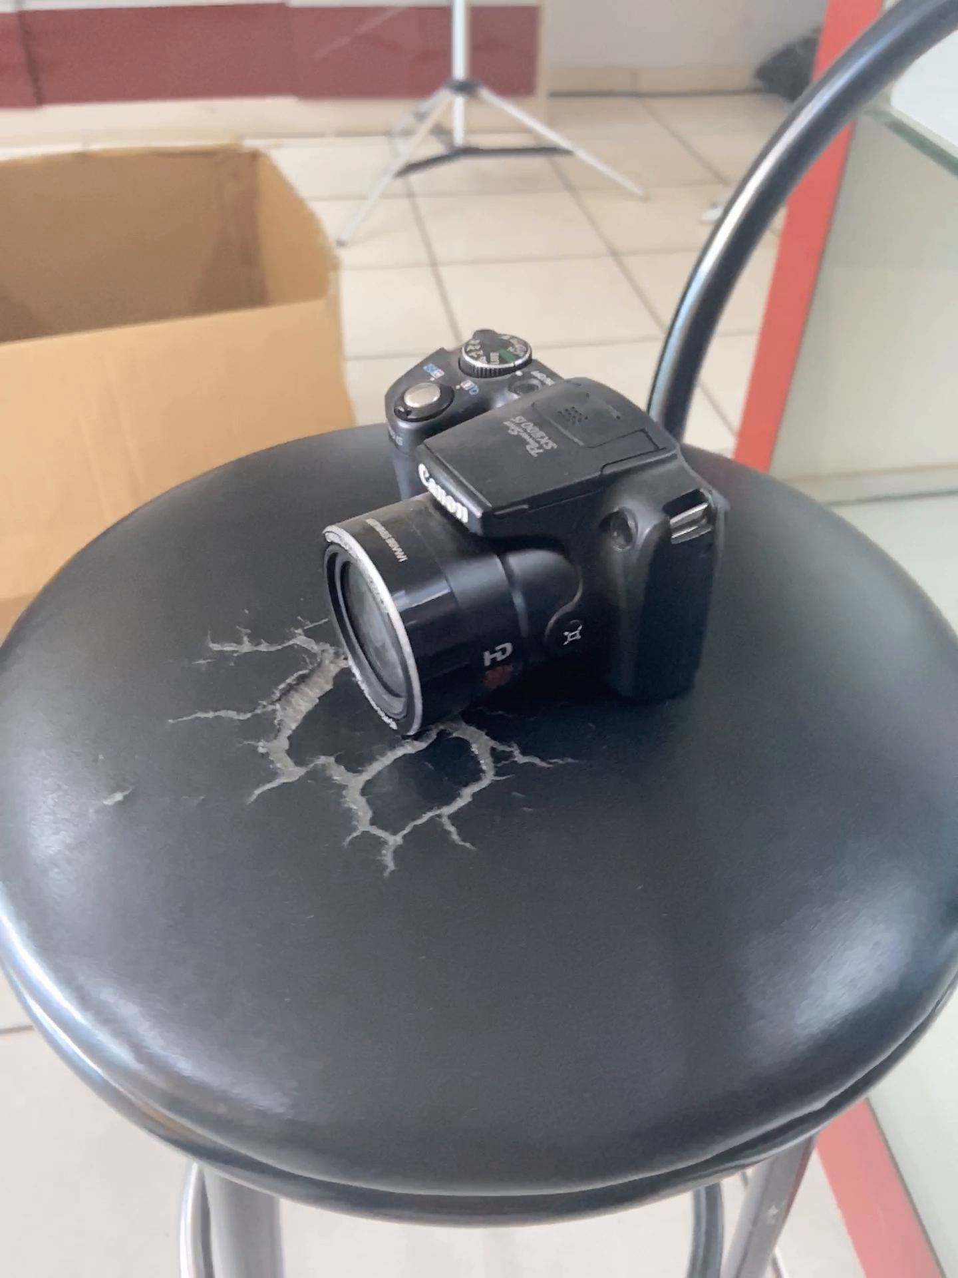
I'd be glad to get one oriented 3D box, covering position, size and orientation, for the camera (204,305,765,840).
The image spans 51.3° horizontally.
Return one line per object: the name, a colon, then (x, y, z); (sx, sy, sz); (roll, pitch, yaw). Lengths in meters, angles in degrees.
camera: (-0.003, -0.026, 0.265); (0.090, 0.070, 0.110); (-24, 46, -25)
